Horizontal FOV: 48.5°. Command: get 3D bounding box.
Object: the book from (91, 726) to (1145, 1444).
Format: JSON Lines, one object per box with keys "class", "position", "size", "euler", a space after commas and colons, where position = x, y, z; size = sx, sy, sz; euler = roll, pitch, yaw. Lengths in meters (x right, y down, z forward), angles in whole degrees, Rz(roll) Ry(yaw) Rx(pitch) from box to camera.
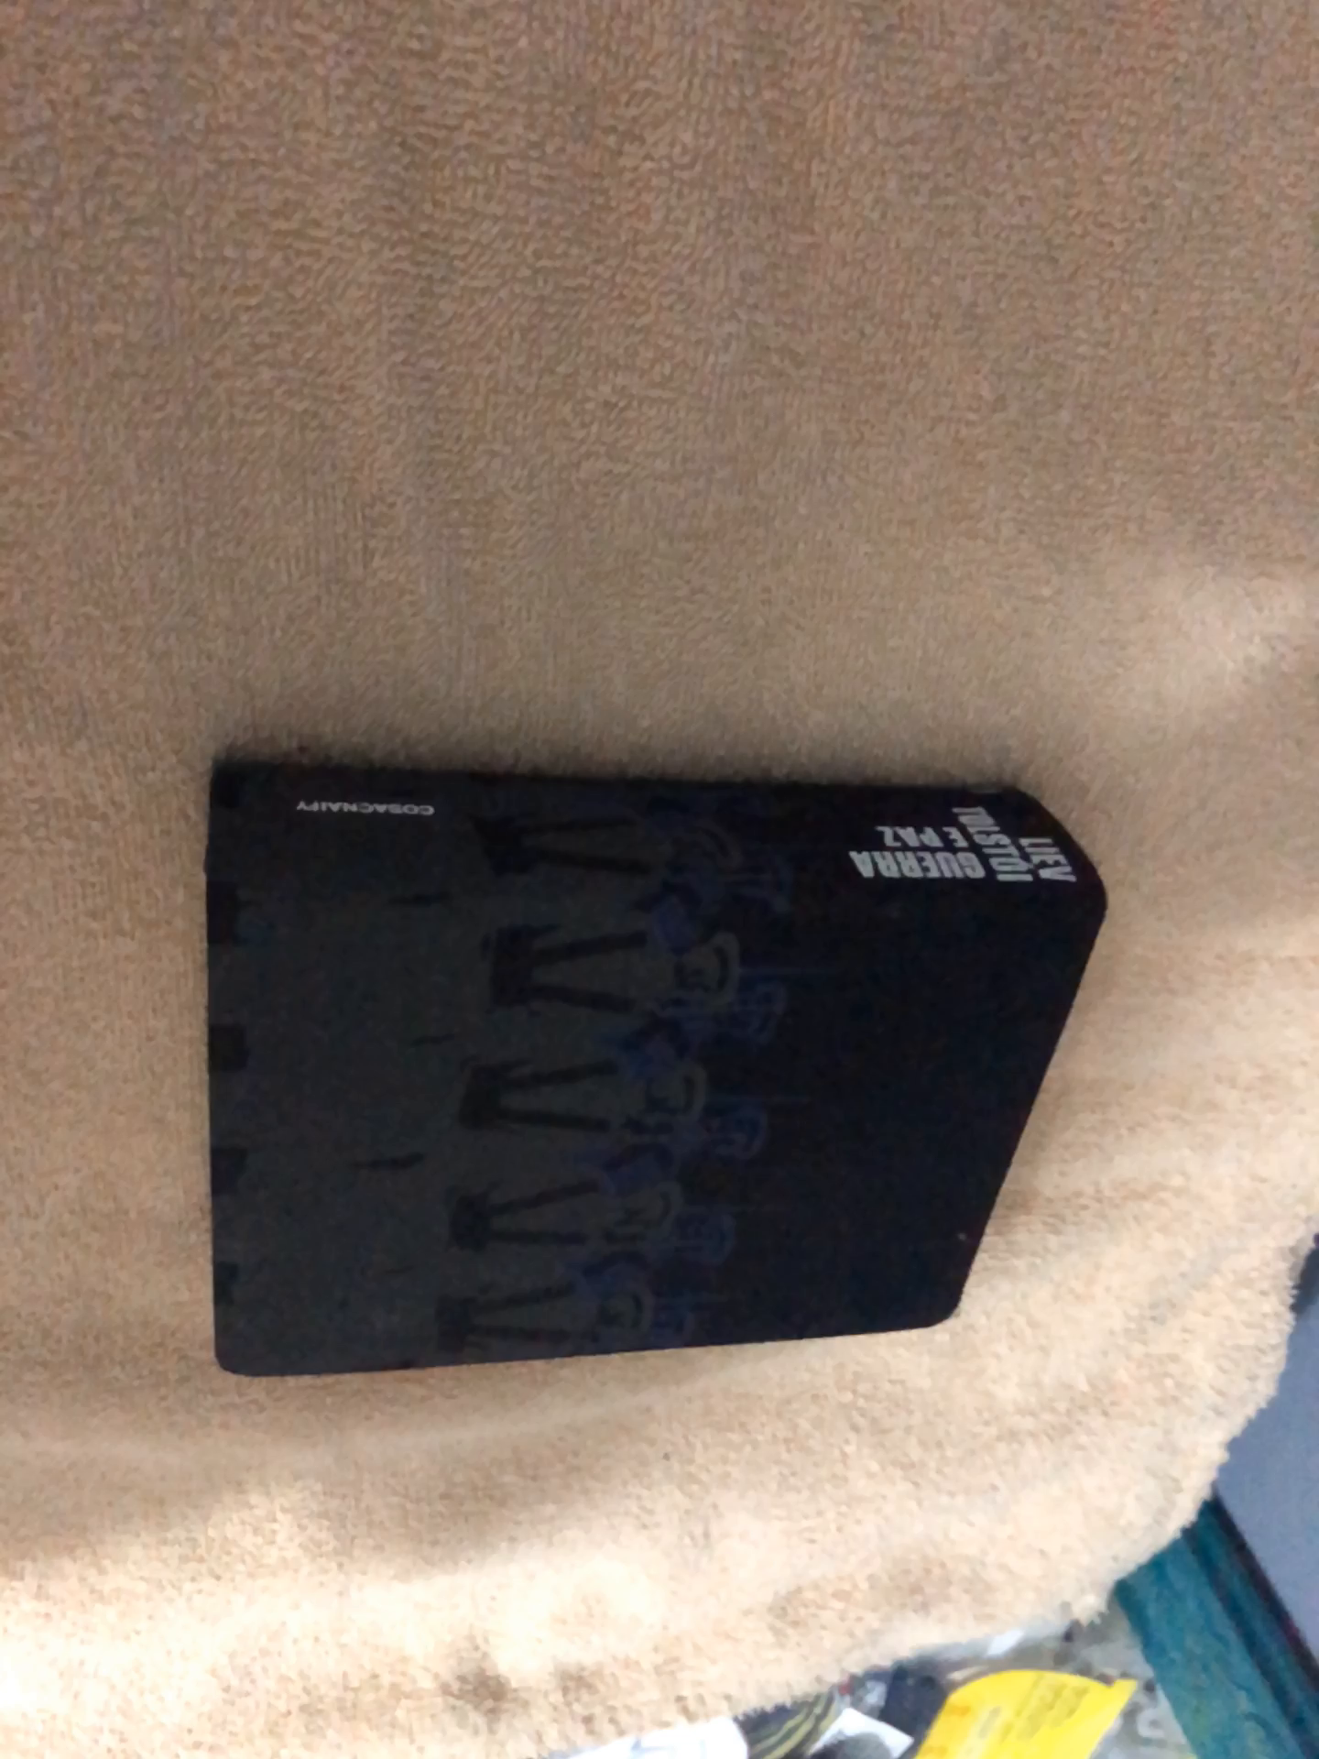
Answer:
{"class": "book", "position": [-0.014, 0.045, 0.313], "size": [0.190, 0.050, 0.141], "euler": [0, 123, -16]}
